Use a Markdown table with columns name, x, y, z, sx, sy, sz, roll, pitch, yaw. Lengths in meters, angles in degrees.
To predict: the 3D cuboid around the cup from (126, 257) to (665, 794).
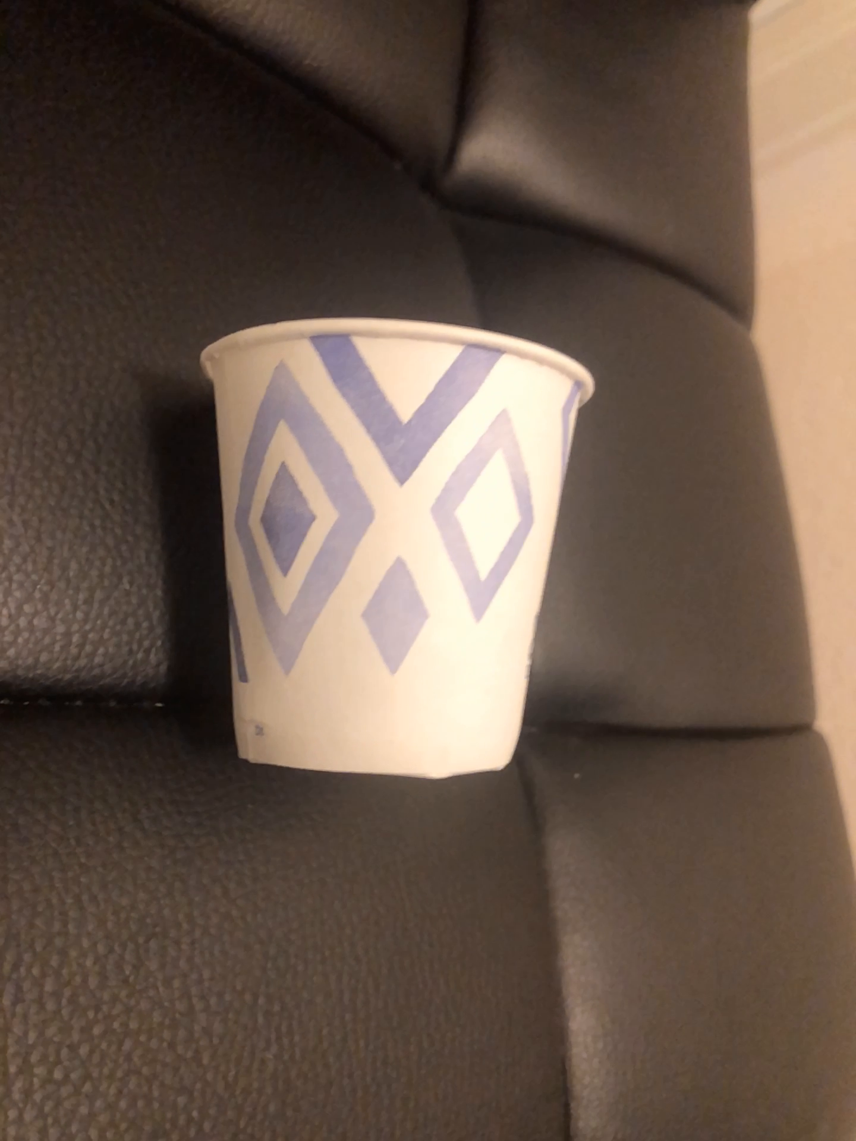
| name | x | y | z | sx | sy | sz | roll | pitch | yaw |
| --- | --- | --- | --- | --- | --- | --- | --- | --- | --- |
| cup | -0.004 | -0.003 | 0.140 | 0.052 | 0.049 | 0.058 | 9 | 86 | -43 |
